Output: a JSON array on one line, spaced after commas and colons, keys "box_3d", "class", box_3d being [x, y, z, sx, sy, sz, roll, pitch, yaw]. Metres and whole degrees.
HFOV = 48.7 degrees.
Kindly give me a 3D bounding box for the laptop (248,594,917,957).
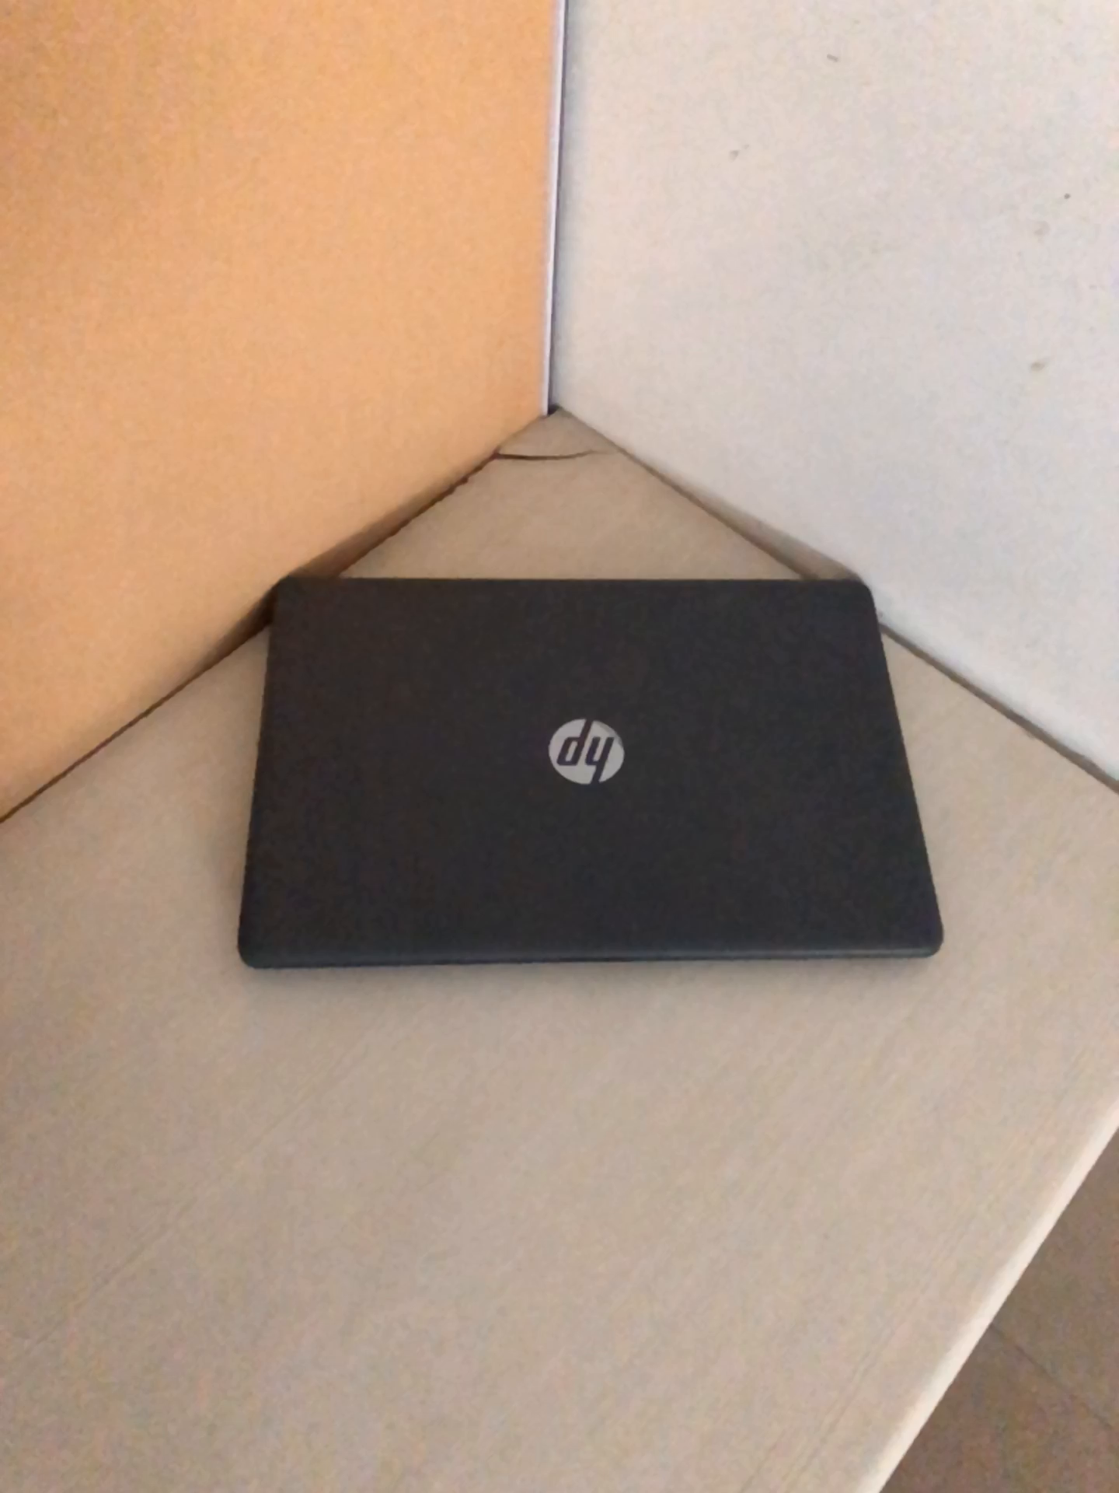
[{"box_3d": [0.012, 0.006, 0.719, 0.356, 0.004, 0.237, -1, 58, -3], "class": "laptop"}]
